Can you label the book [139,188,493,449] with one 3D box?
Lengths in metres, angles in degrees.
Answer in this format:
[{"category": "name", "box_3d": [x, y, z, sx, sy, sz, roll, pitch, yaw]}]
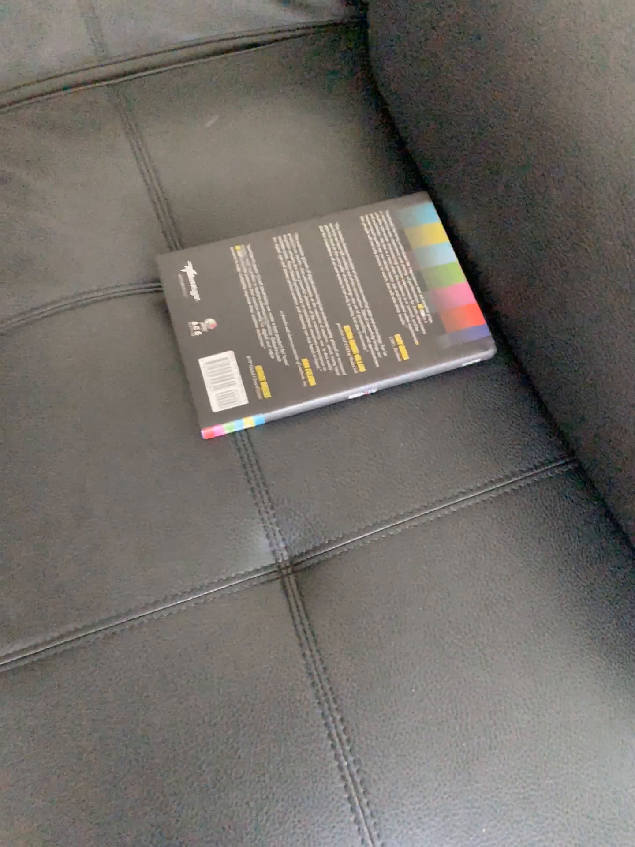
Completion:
[{"category": "book", "box_3d": [-0.005, -0.089, 0.514, 0.236, 0.030, 0.161, -15, 70, -8]}]
